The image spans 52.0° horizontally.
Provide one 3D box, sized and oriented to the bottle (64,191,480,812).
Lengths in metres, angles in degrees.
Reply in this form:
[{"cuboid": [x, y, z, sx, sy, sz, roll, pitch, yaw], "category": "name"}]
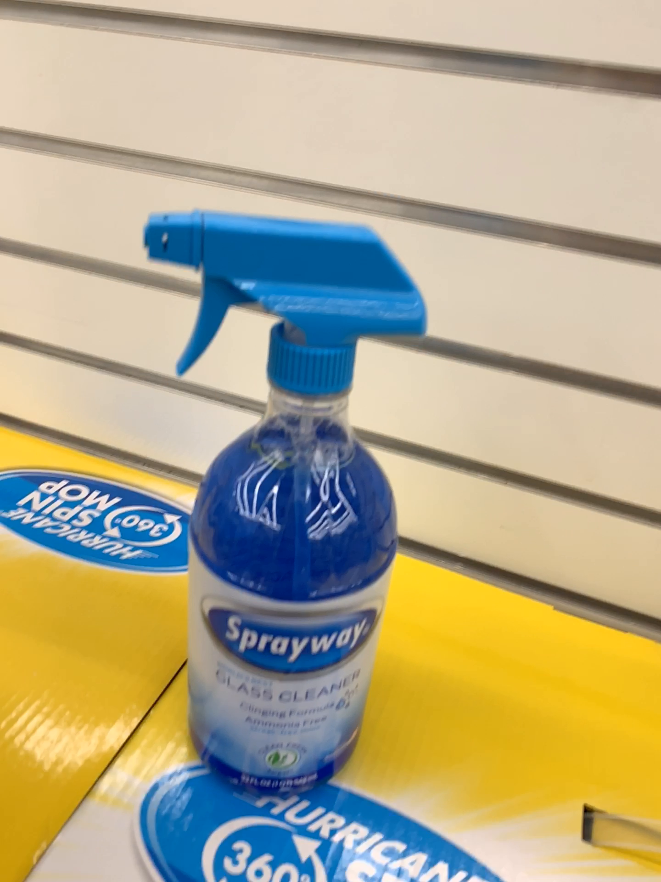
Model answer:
[{"cuboid": [-0.027, 0.036, 0.278, 0.110, 0.239, 0.090, 4, 30, -4], "category": "bottle"}]
